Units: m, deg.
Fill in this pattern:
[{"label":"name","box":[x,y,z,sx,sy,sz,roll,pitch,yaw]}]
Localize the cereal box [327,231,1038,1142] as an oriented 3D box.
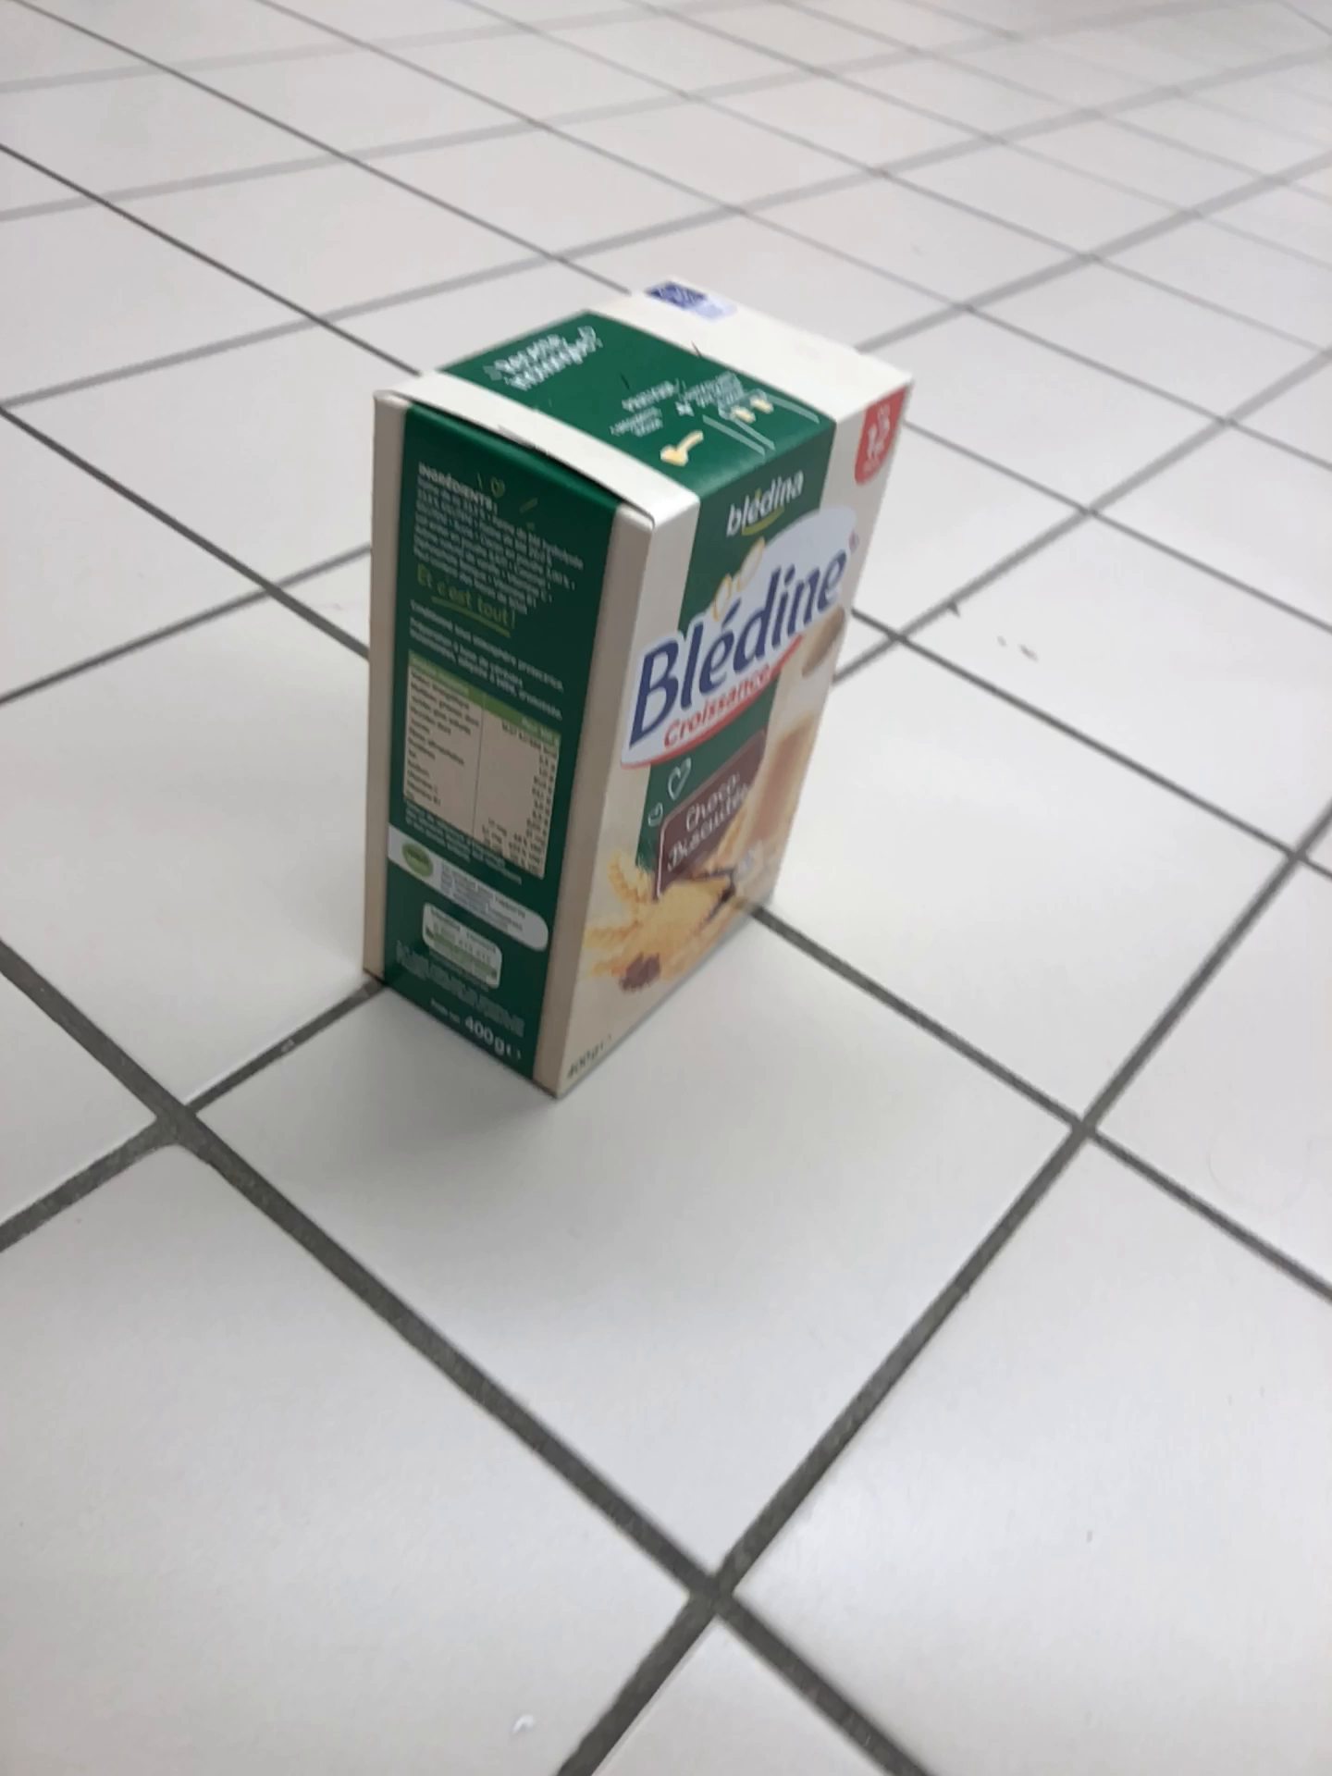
[{"label":"cereal box","box":[-0.003,-0.063,0.442,0.120,0.199,0.151,30,43,19]}]
